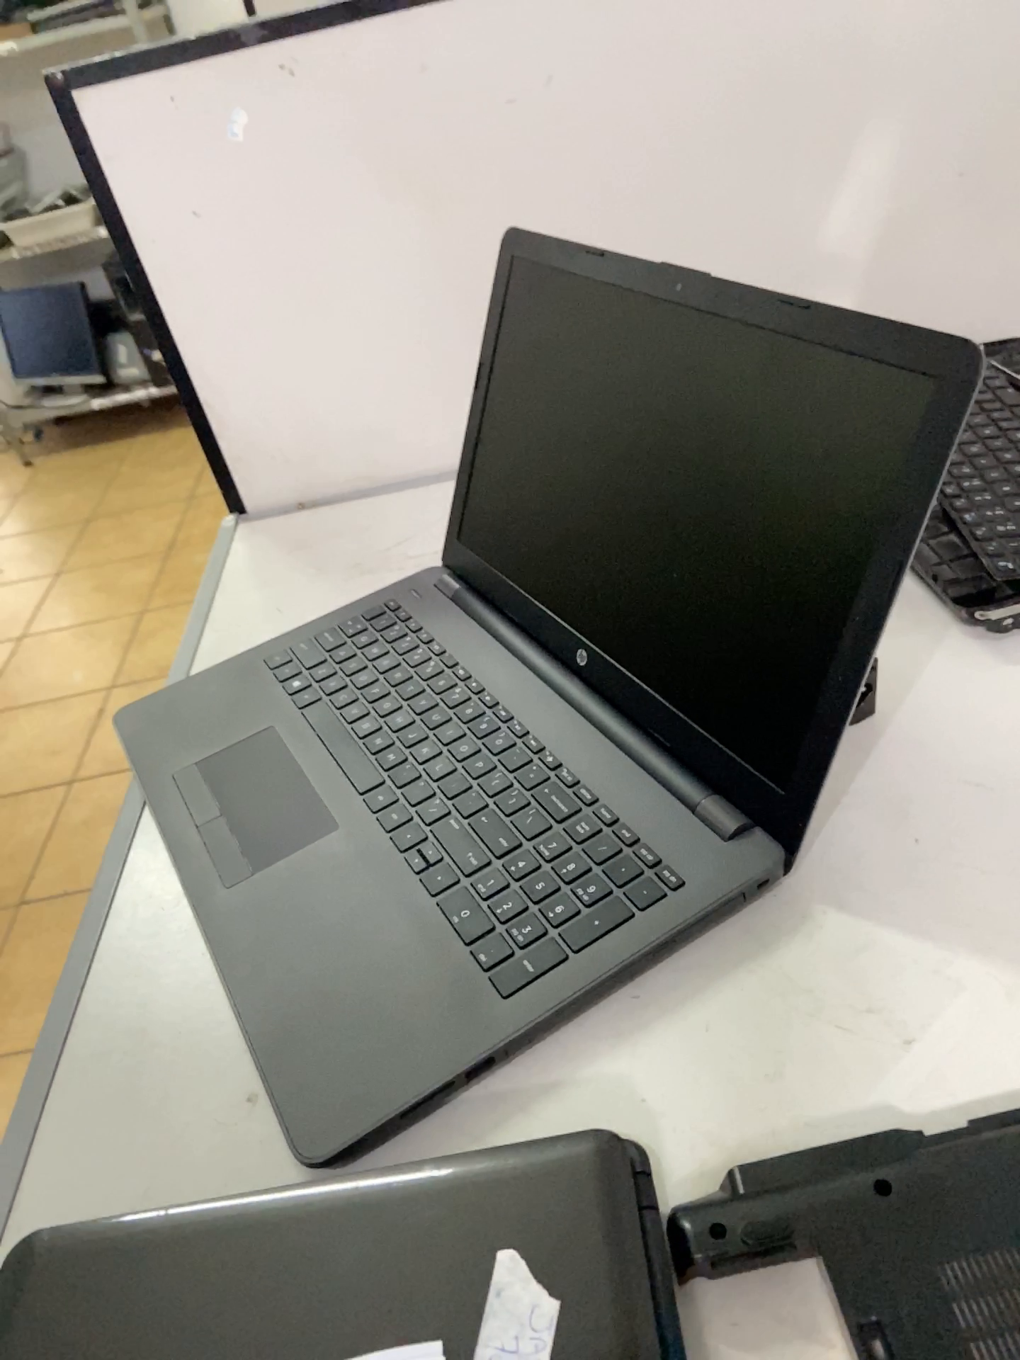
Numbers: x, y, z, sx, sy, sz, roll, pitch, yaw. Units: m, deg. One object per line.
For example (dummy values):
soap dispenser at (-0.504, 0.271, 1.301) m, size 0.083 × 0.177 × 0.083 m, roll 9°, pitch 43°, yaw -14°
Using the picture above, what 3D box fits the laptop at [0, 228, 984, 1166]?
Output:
laptop at (-0.042, -0.052, 0.557) m, size 0.365 × 0.206 × 0.381 m, roll -28°, pitch 38°, yaw -17°
